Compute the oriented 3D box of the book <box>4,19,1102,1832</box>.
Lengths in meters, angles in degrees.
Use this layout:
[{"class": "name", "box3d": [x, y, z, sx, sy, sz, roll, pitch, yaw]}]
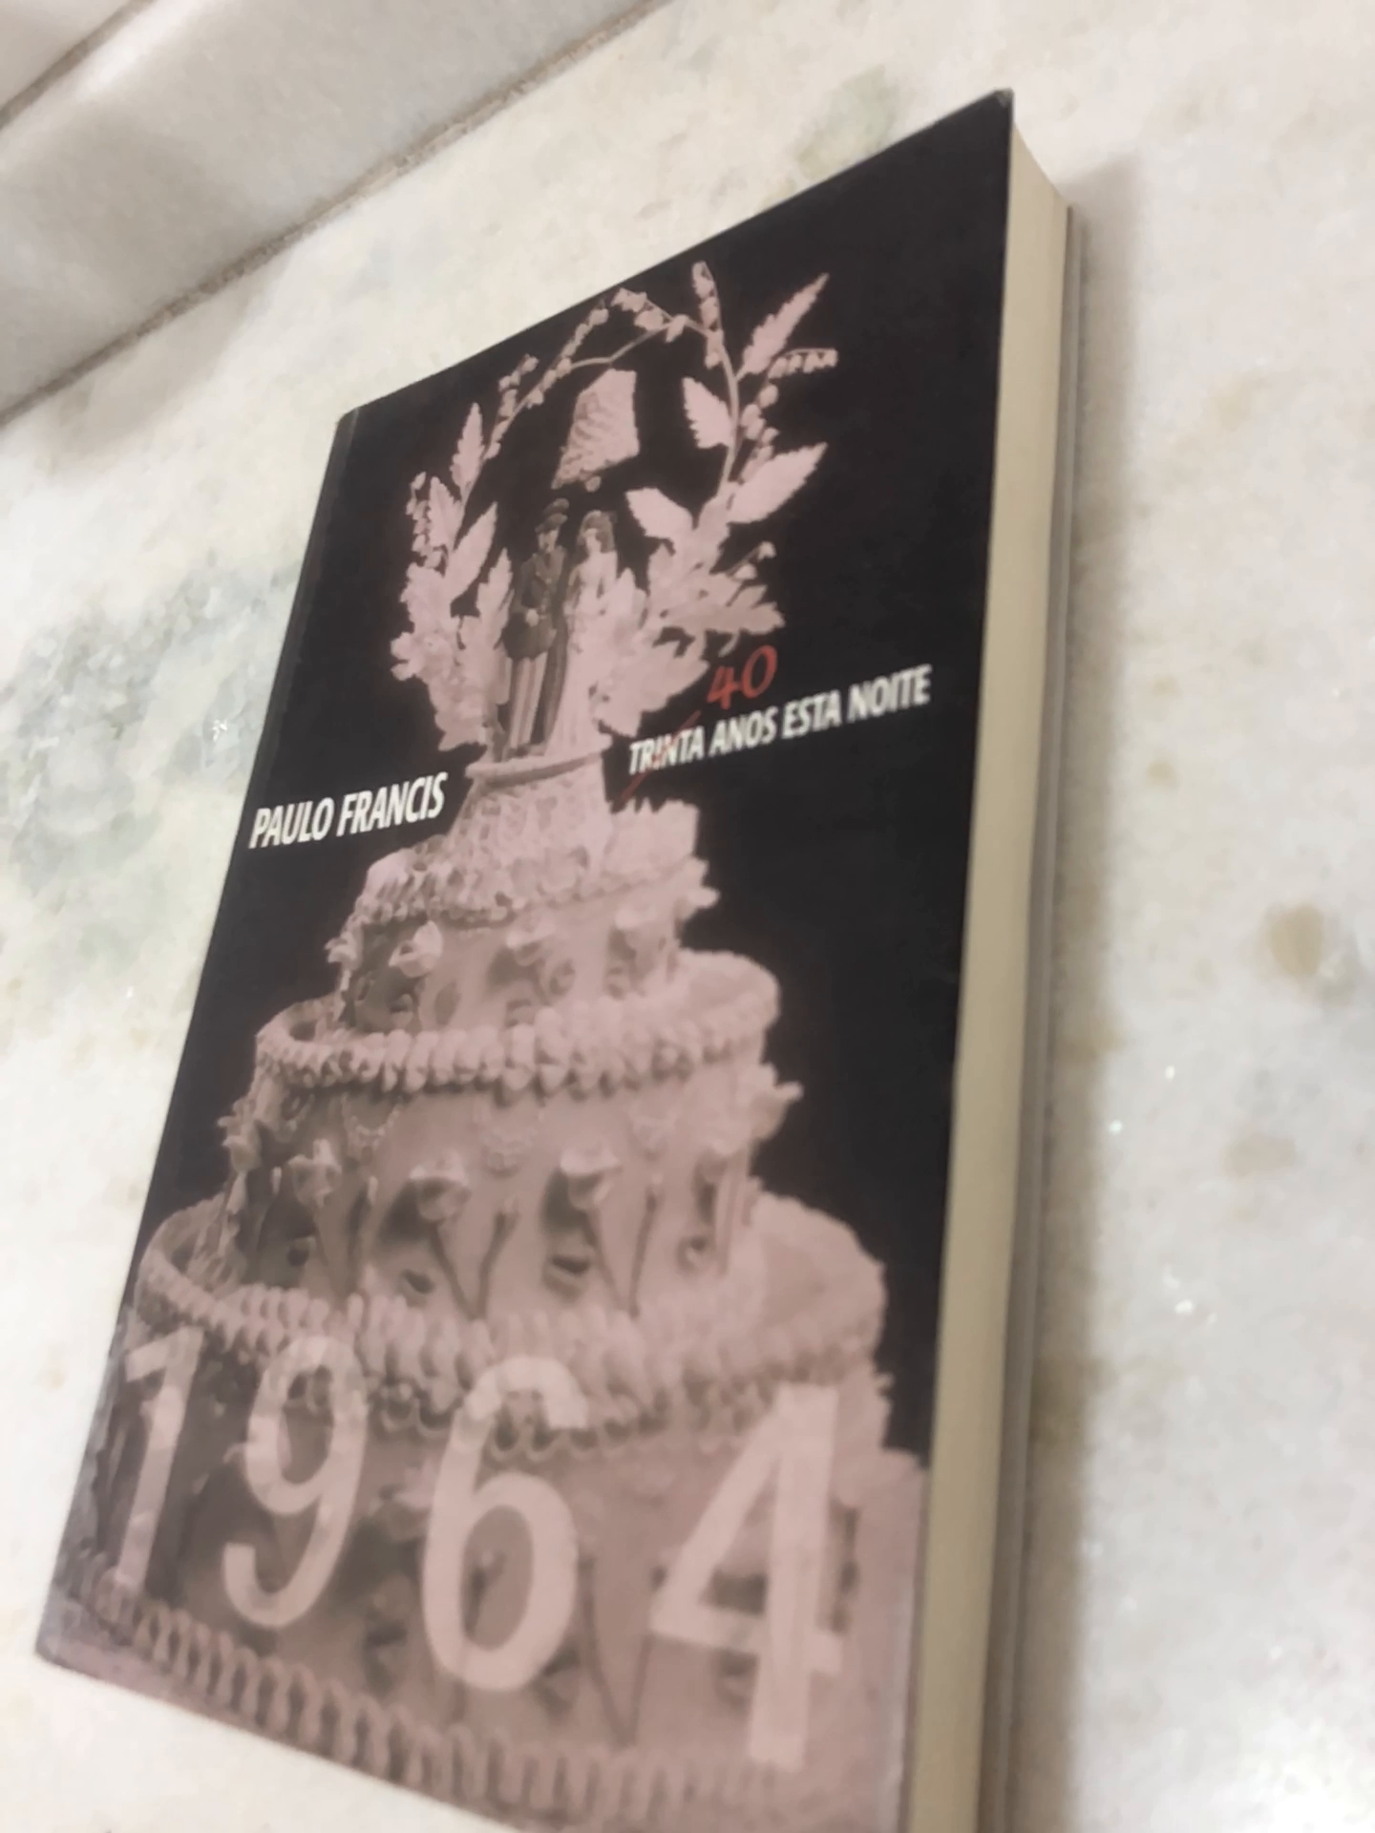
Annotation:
[{"class": "book", "box3d": [-0.019, -0.001, 0.201, 0.141, 0.020, 0.204, -8, 66, 38]}]
